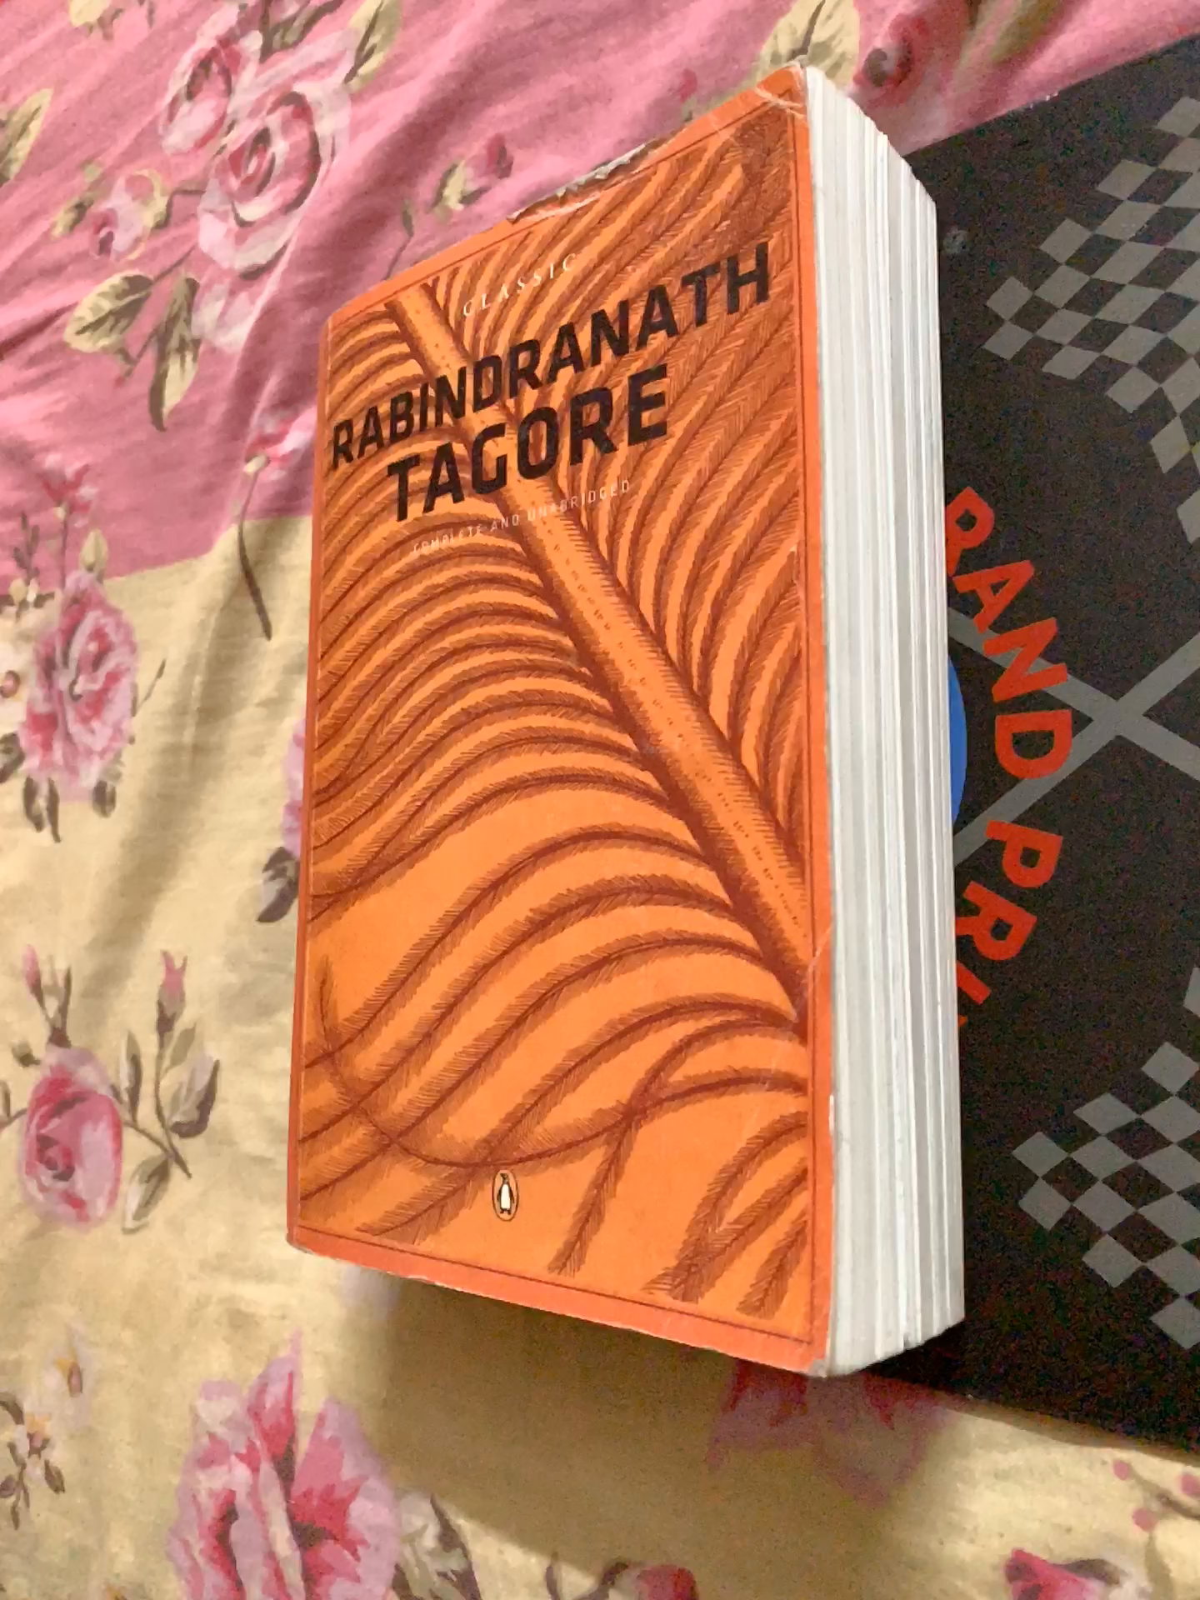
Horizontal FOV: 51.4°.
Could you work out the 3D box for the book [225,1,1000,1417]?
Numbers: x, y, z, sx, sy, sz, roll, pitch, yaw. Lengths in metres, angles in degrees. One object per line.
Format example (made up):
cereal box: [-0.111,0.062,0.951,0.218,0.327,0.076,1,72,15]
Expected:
book: [-0.001,-0.013,0.243,0.131,0.060,0.210,-7,77,38]
